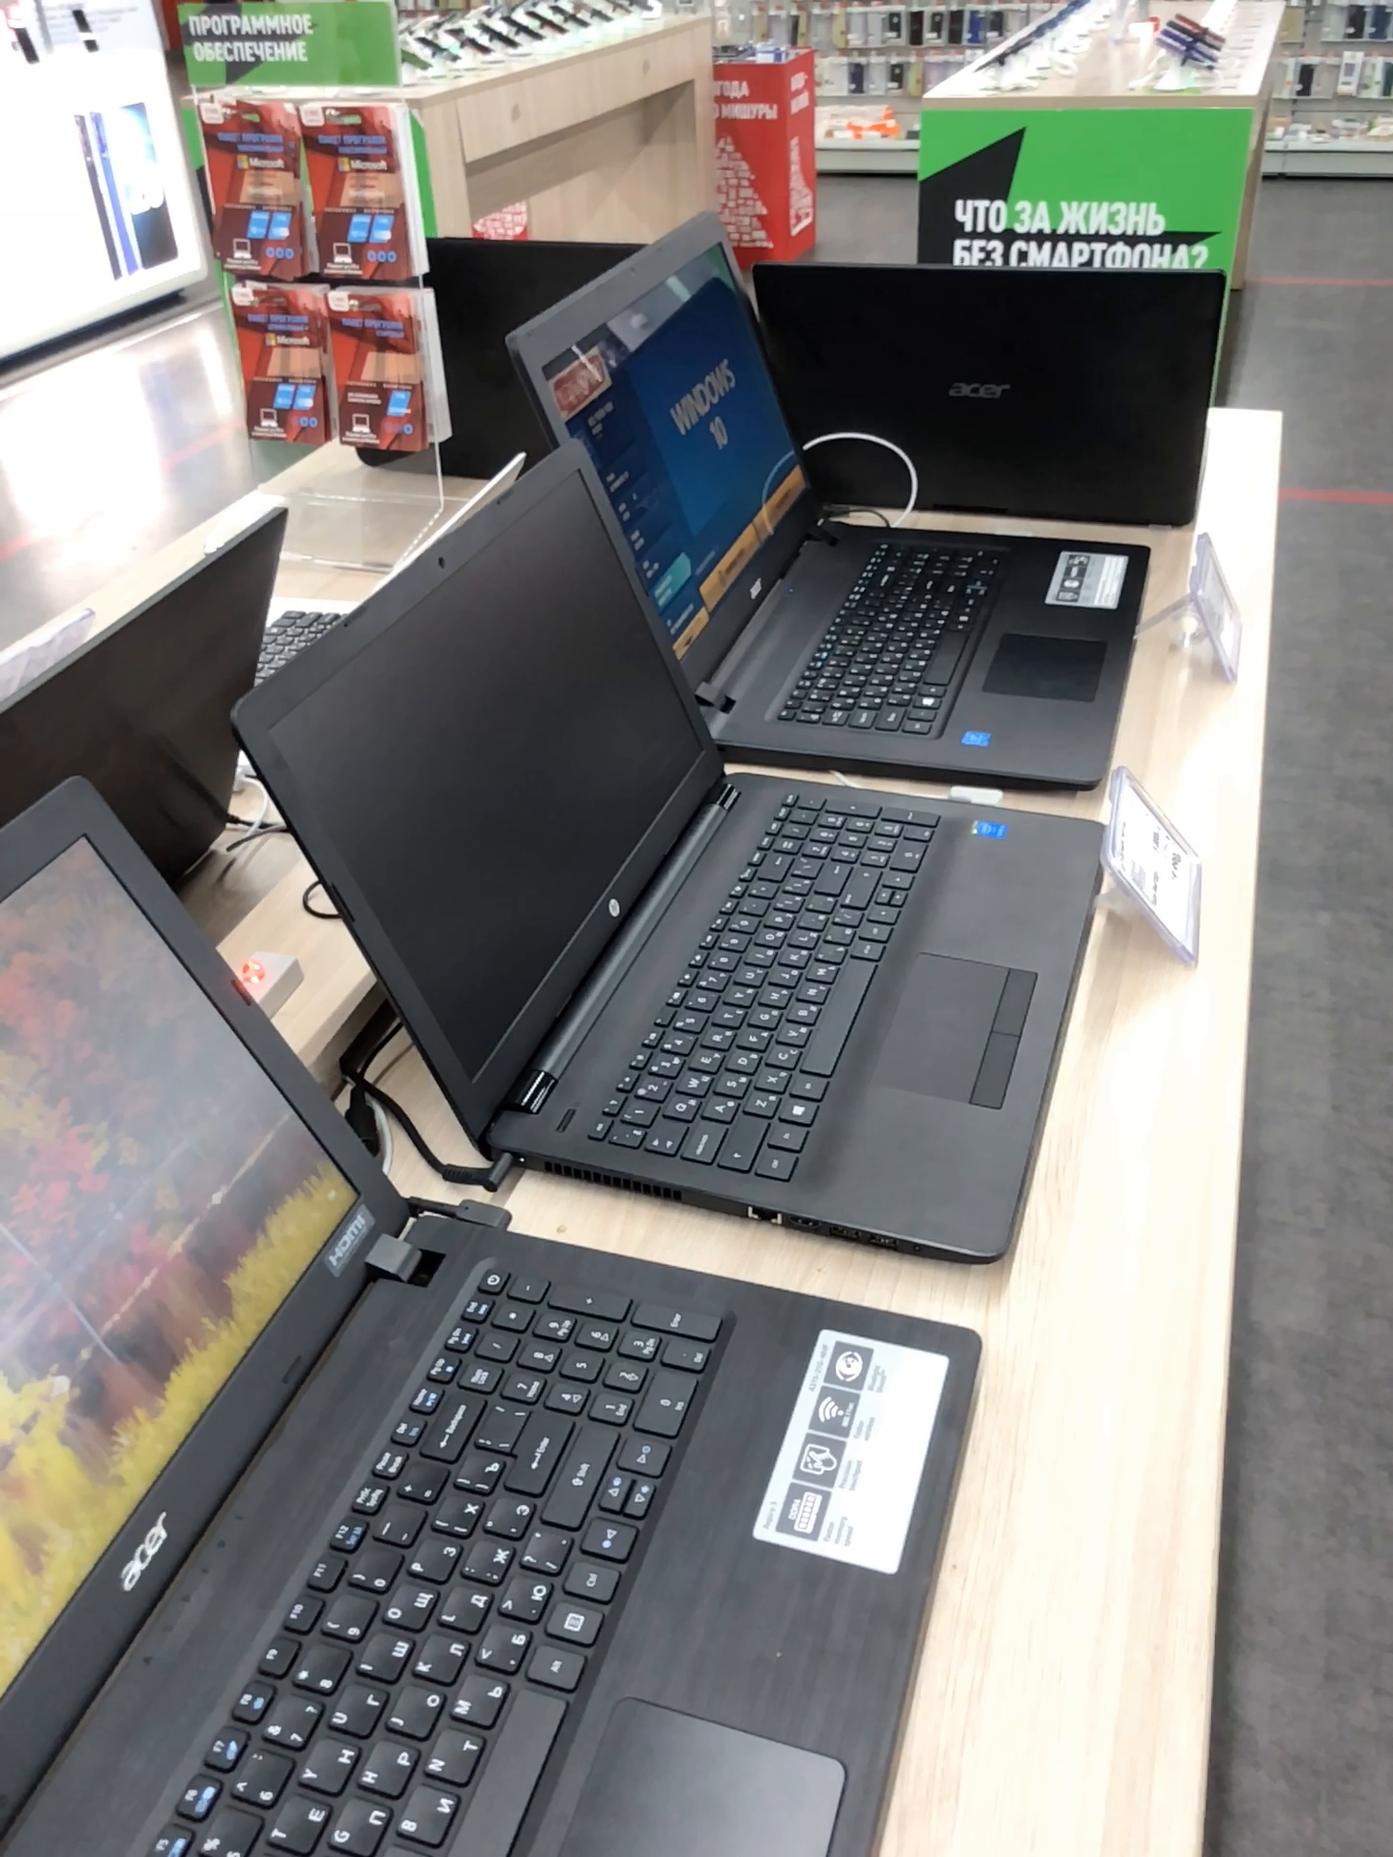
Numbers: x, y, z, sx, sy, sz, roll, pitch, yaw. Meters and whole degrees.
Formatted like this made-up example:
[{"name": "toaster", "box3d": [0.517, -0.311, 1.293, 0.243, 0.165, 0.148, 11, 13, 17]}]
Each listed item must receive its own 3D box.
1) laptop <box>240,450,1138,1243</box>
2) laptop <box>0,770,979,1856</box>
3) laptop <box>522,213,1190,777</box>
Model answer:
[{"name": "laptop", "box3d": [0.032, -0.076, 0.812, 0.333, 0.215, 0.379, 9, 36, 16]}, {"name": "laptop", "box3d": [-0.108, 0.152, 0.481, 0.350, 0.226, 0.361, 7, 35, 16]}, {"name": "laptop", "box3d": [0.138, -0.352, 1.152, 0.395, 0.267, 0.398, 8, 37, 18]}]
